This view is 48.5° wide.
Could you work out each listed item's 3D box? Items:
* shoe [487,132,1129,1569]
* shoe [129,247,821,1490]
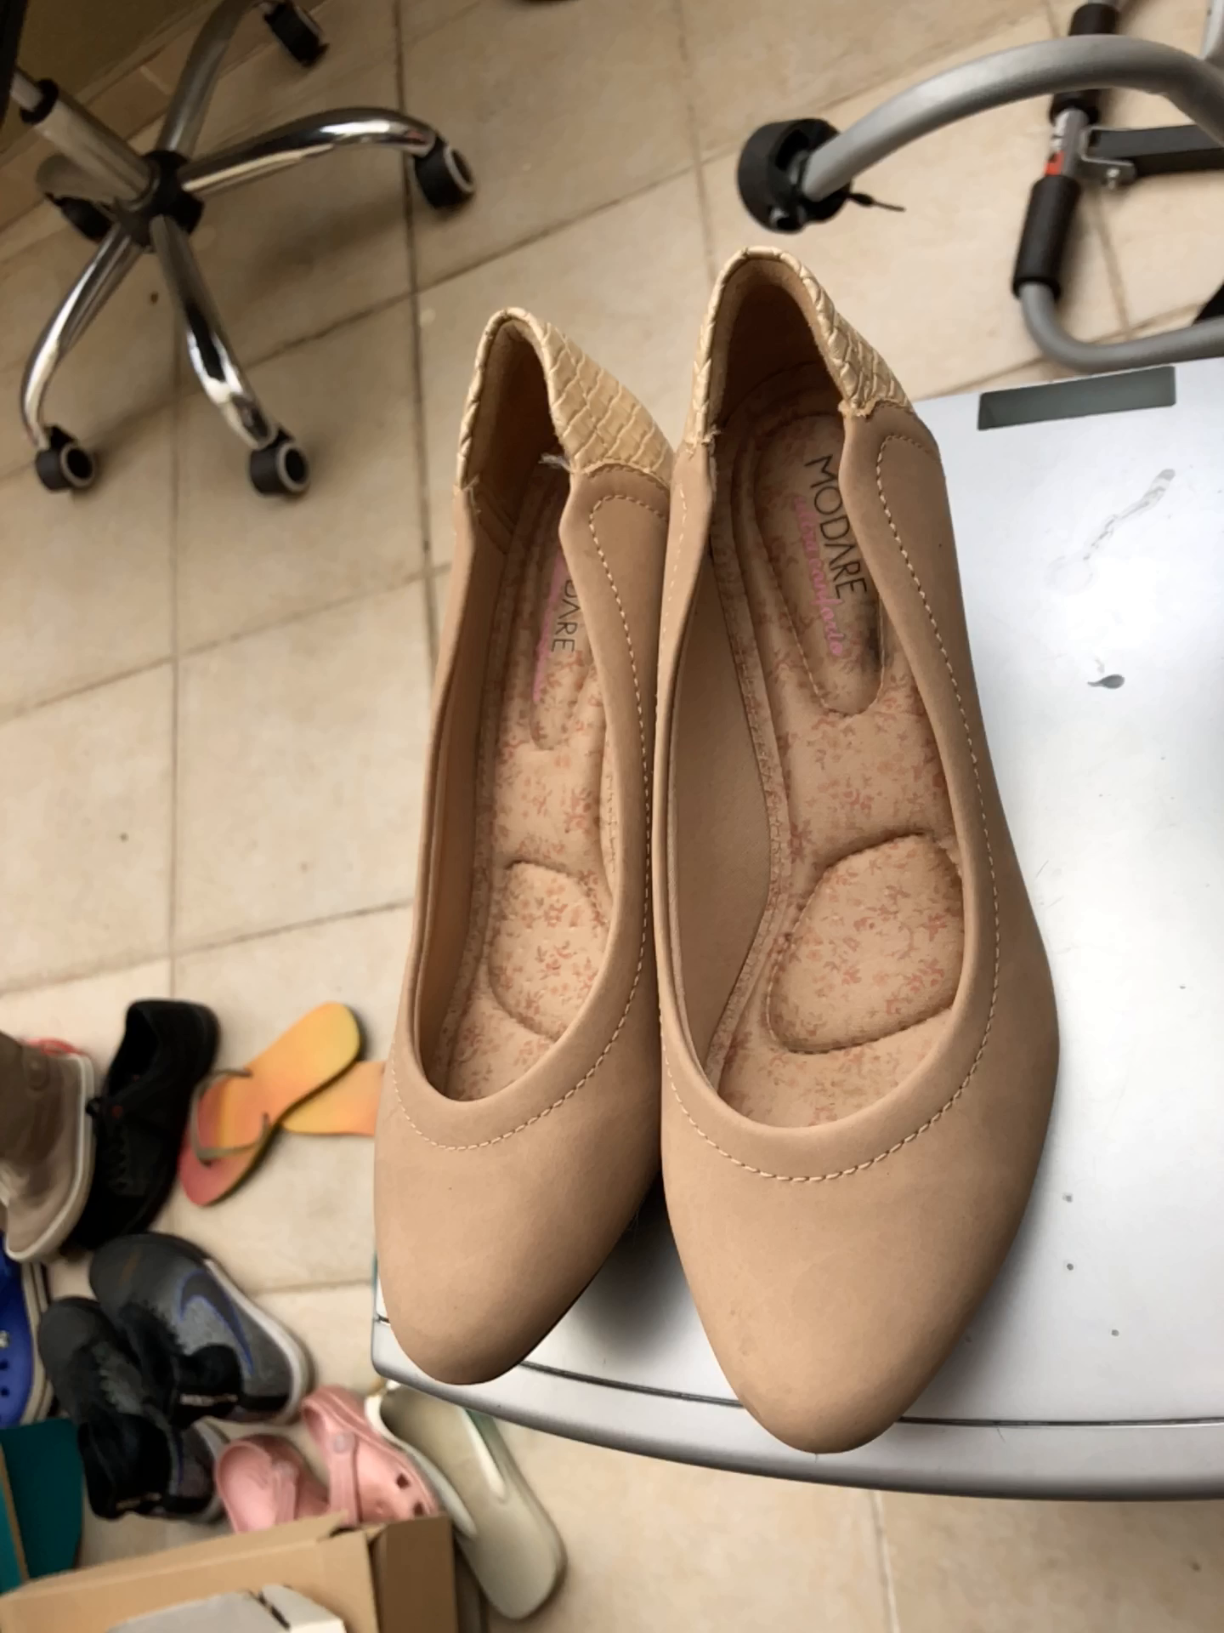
[{"bbox_3d":[0.050,0.007,0.297,0.090,0.120,0.244,-6,74,28],"label":"shoe"},{"bbox_3d":[-0.020,0.012,0.335,0.090,0.120,0.244,-1,77,29],"label":"shoe"}]
